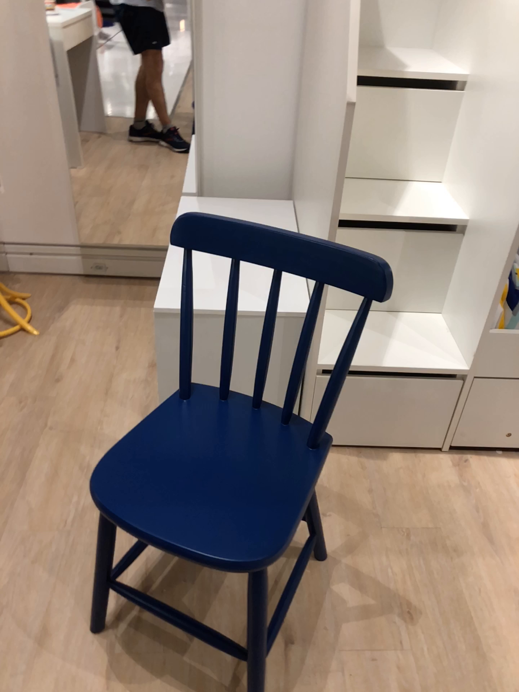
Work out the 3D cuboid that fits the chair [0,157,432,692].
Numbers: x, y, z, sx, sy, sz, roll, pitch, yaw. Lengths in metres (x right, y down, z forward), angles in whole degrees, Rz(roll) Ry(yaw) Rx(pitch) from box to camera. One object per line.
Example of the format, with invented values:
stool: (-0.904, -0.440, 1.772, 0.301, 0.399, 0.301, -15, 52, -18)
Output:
chair: (-0.067, 0.172, 1.013, 0.461, 0.804, 0.483, 19, 38, 20)
